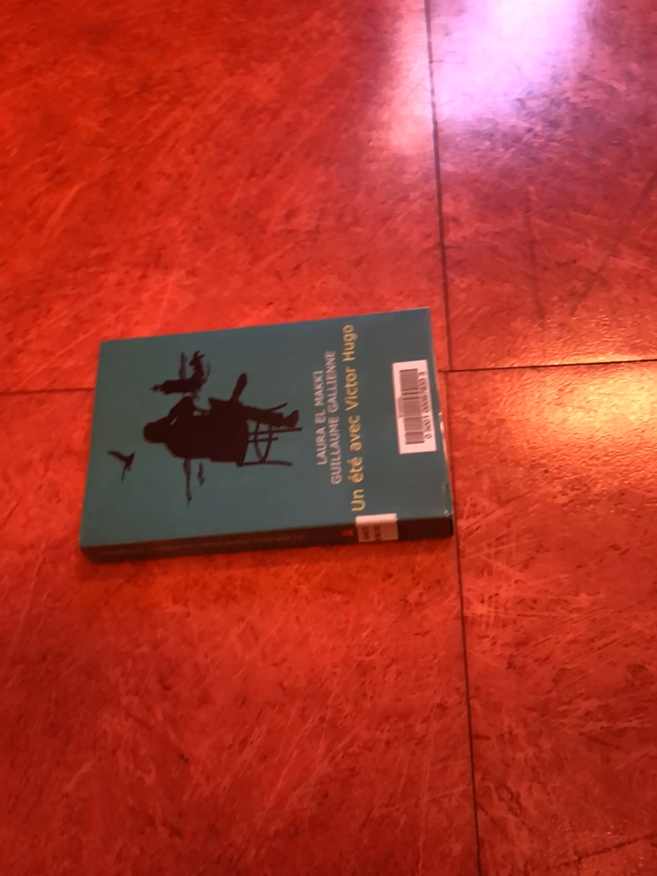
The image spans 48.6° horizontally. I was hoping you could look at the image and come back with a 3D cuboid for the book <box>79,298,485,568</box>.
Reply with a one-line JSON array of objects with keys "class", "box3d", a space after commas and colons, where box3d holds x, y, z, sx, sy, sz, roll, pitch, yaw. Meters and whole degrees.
[{"class": "book", "box3d": [-0.022, -0.003, 0.333, 0.170, 0.020, 0.110, -5, 64, 6]}]
